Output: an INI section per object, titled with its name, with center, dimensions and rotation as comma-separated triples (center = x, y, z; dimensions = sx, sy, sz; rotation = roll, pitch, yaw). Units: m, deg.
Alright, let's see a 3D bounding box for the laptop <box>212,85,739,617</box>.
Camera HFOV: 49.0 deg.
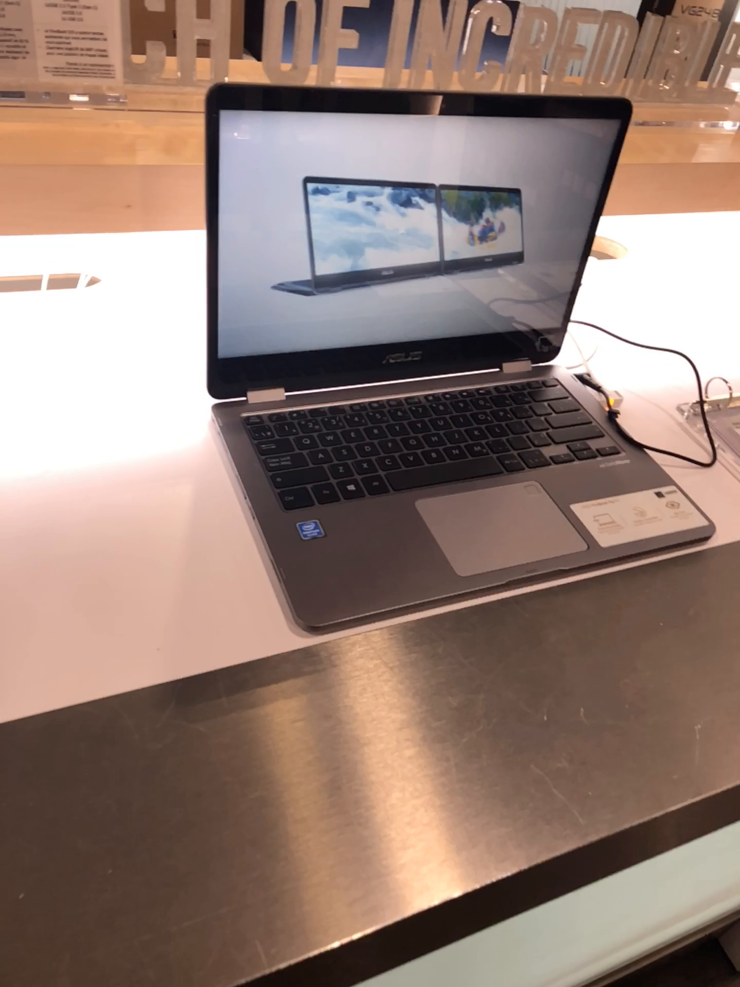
[laptop]
center = 0.079, -0.101, 0.507
dimensions = 0.303, 0.210, 0.211
rotation = -9, 46, -22
